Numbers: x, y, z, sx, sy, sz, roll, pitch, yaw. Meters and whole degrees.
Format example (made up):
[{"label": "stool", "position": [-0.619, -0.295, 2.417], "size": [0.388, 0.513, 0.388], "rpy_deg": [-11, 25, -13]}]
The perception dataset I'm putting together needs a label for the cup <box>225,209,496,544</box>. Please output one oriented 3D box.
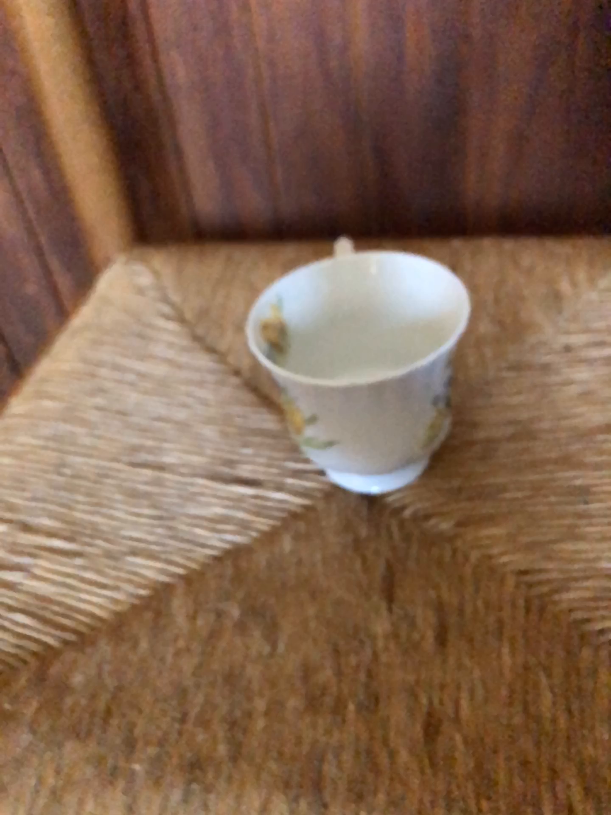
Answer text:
[{"label": "cup", "position": [0.019, -0.020, 0.302], "size": [0.090, 0.070, 0.131], "rpy_deg": [-7, 40, 2]}]
